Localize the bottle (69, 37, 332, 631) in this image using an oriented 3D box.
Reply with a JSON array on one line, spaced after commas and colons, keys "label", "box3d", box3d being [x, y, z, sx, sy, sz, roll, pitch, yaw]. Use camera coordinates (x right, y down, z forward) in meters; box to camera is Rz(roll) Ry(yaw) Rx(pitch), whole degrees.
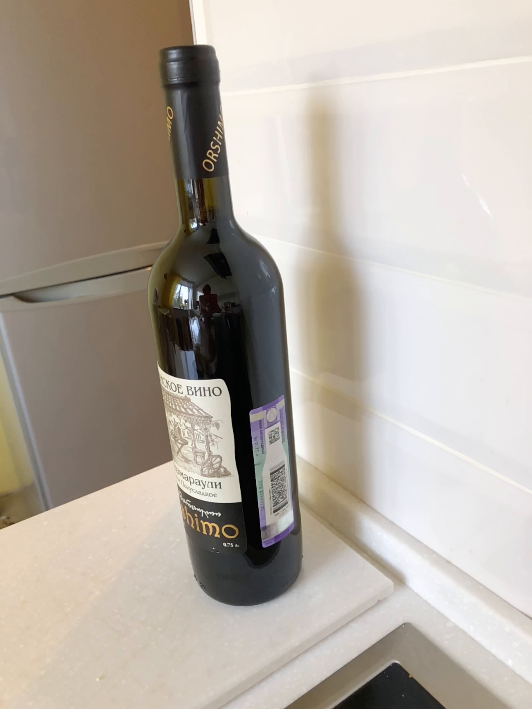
[{"label": "bottle", "box3d": [-0.025, -0.003, 0.326, 0.080, 0.298, 0.080, -4, 23, 2]}]
